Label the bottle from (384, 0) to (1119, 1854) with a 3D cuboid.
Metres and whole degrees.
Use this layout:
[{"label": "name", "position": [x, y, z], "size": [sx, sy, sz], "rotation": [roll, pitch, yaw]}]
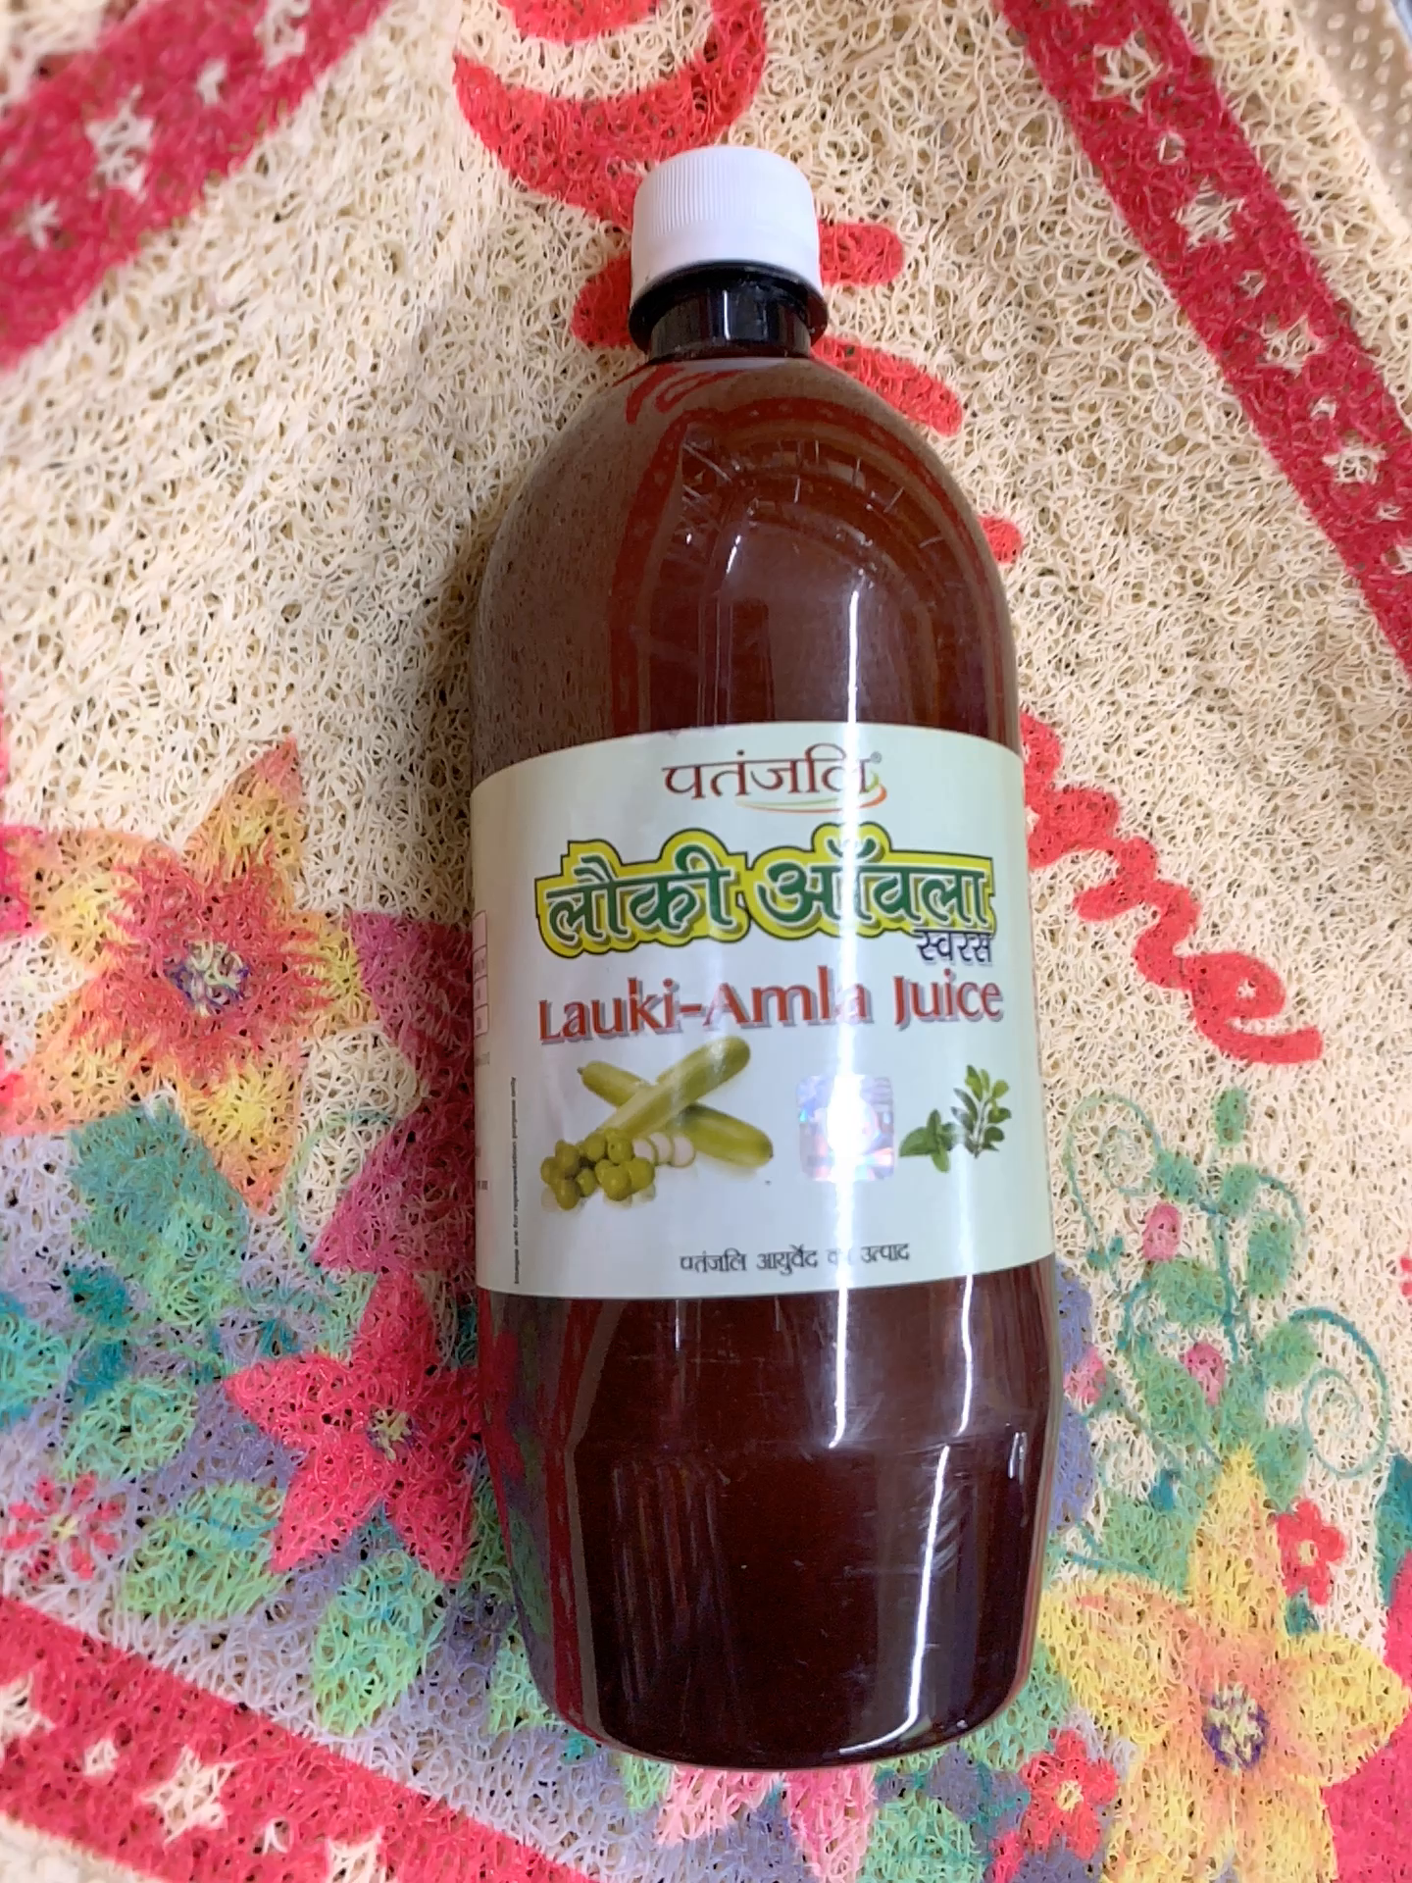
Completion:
[{"label": "bottle", "position": [0.009, -0.020, 0.217], "size": [0.080, 0.080, 0.250], "rotation": [24, 63, -76]}]
